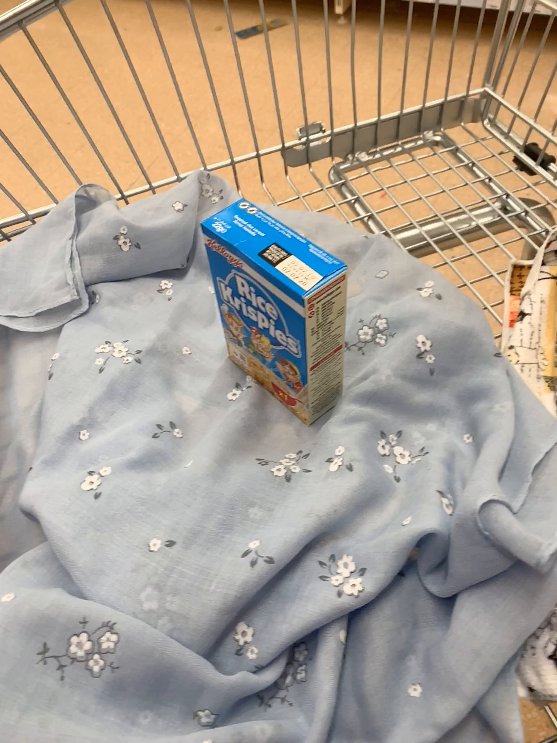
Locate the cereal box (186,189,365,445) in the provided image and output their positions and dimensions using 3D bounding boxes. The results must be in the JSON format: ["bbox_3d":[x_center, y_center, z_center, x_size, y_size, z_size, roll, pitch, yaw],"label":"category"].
[{"bbox_3d":[0.003,-0.030,0.368,0.040,0.139,0.100,-40,59,-21],"label":"cereal box"}]
